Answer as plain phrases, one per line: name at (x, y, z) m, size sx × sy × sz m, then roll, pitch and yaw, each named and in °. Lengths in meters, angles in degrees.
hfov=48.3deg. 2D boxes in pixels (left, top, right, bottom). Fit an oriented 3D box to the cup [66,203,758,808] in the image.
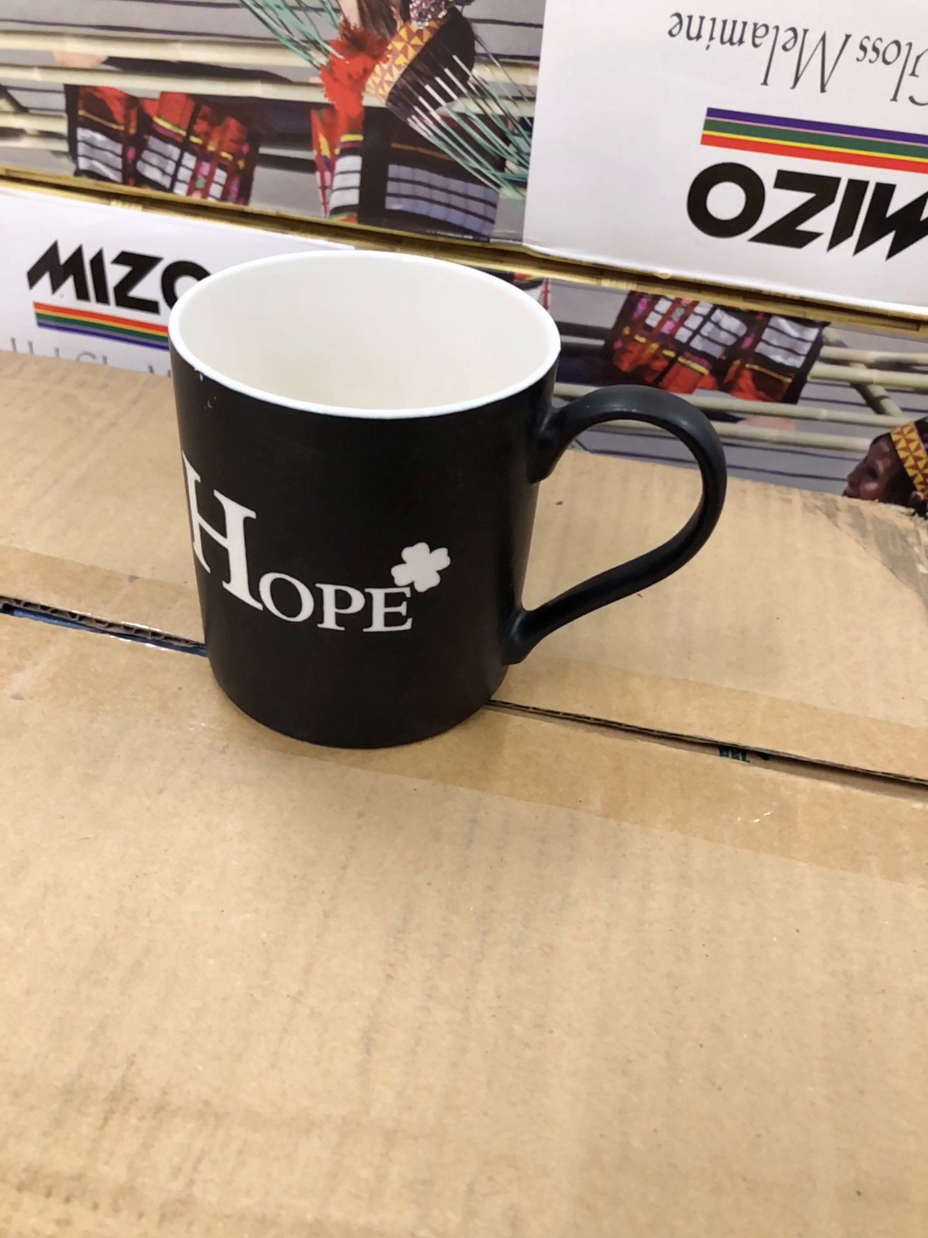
cup at (-0.008, -0.029, 0.240) m, size 0.120 × 0.089 × 0.091 m, roll 8°, pitch 39°, yaw 2°
